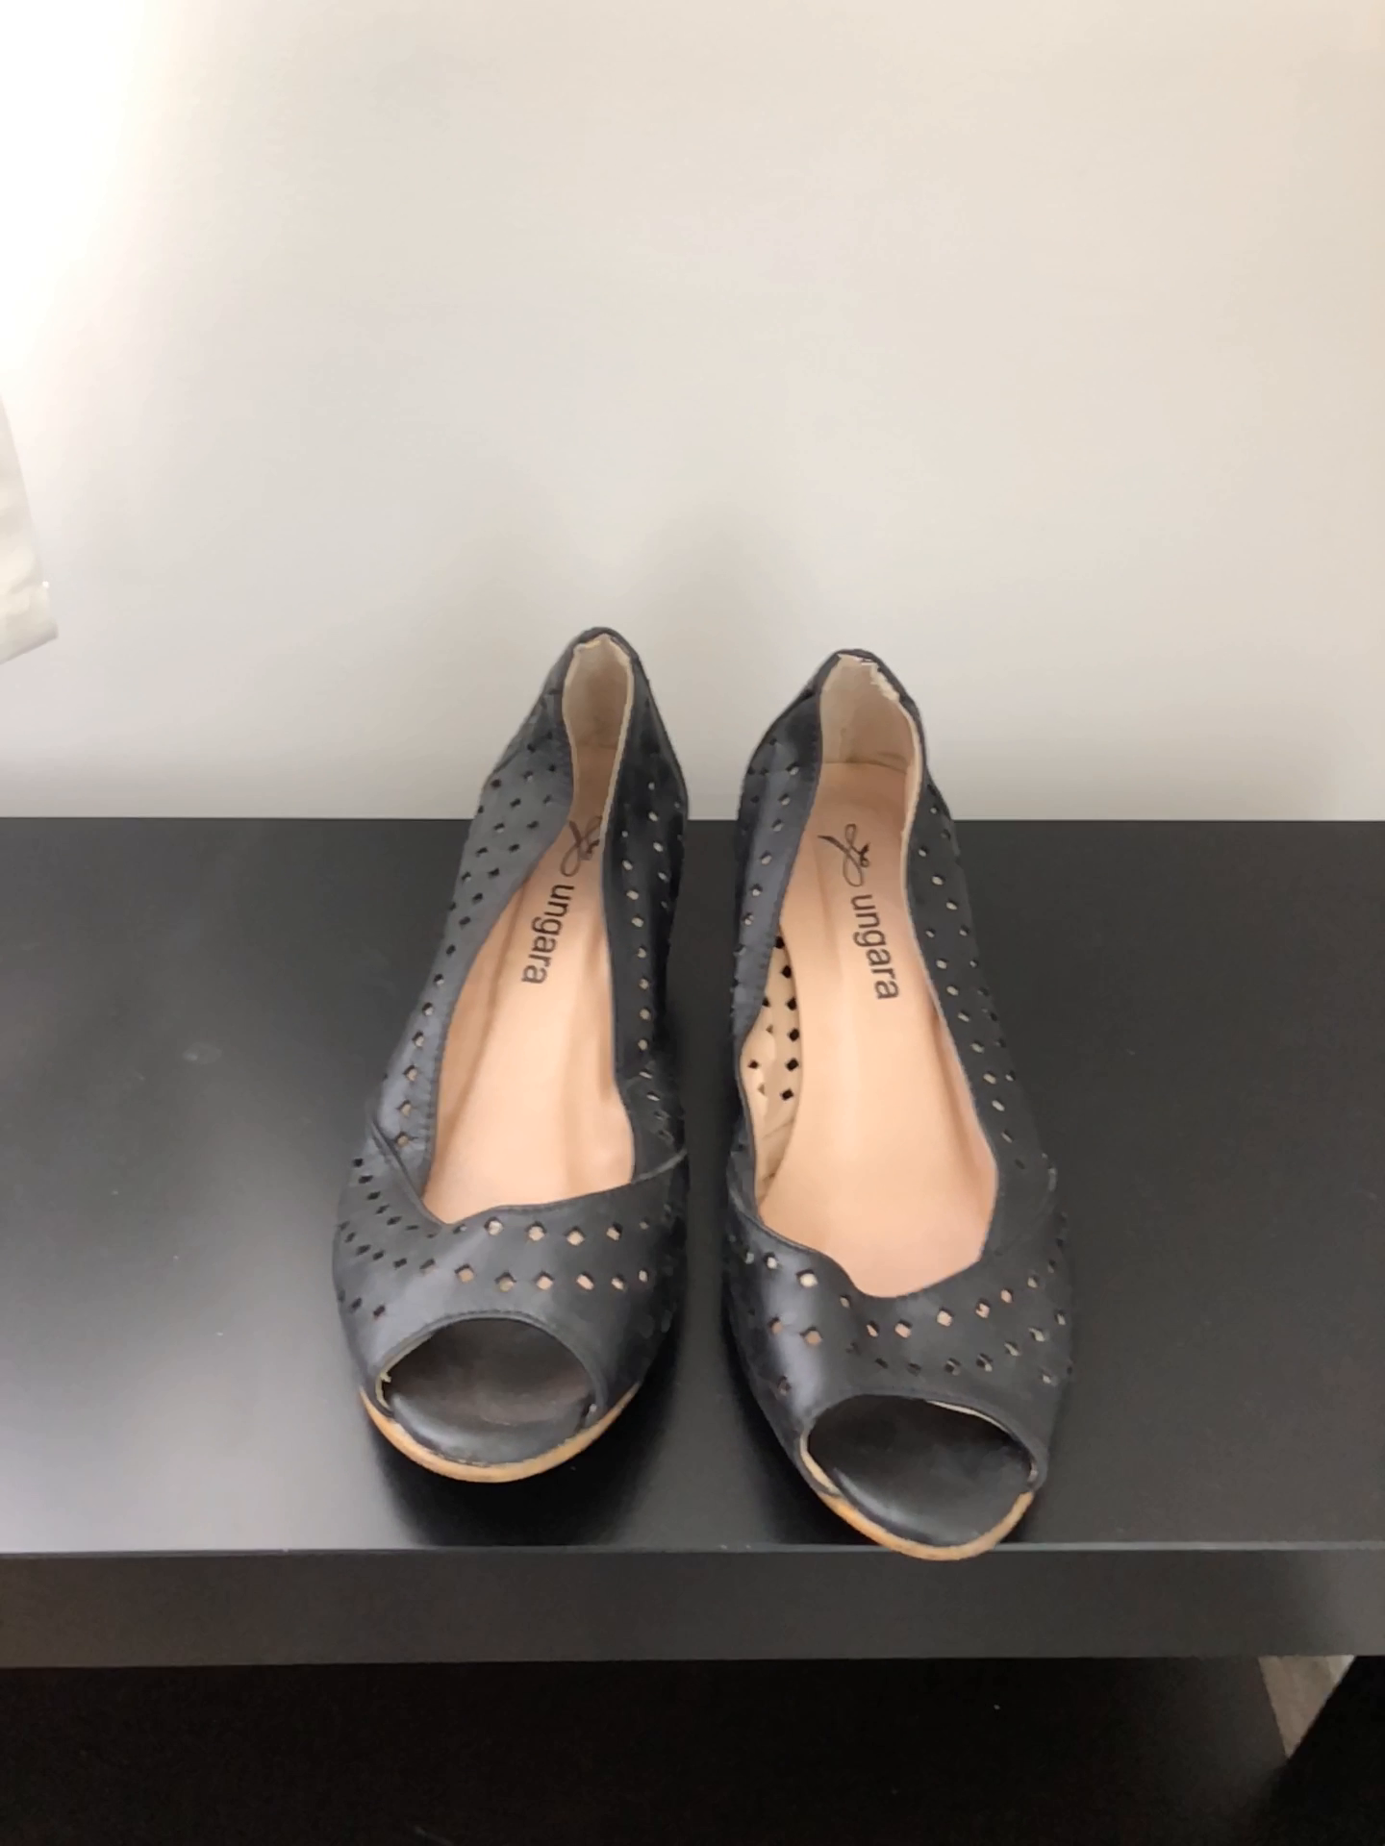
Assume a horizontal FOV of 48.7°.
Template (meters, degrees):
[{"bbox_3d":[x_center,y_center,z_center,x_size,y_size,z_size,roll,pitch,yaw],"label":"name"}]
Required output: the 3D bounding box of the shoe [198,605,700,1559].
[{"bbox_3d":[-0.043,0.022,0.381,0.085,0.100,0.231,1,40,-1],"label":"shoe"}]

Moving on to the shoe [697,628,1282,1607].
[{"bbox_3d":[0.048,0.029,0.363,0.085,0.100,0.221,0,40,-2],"label":"shoe"}]
